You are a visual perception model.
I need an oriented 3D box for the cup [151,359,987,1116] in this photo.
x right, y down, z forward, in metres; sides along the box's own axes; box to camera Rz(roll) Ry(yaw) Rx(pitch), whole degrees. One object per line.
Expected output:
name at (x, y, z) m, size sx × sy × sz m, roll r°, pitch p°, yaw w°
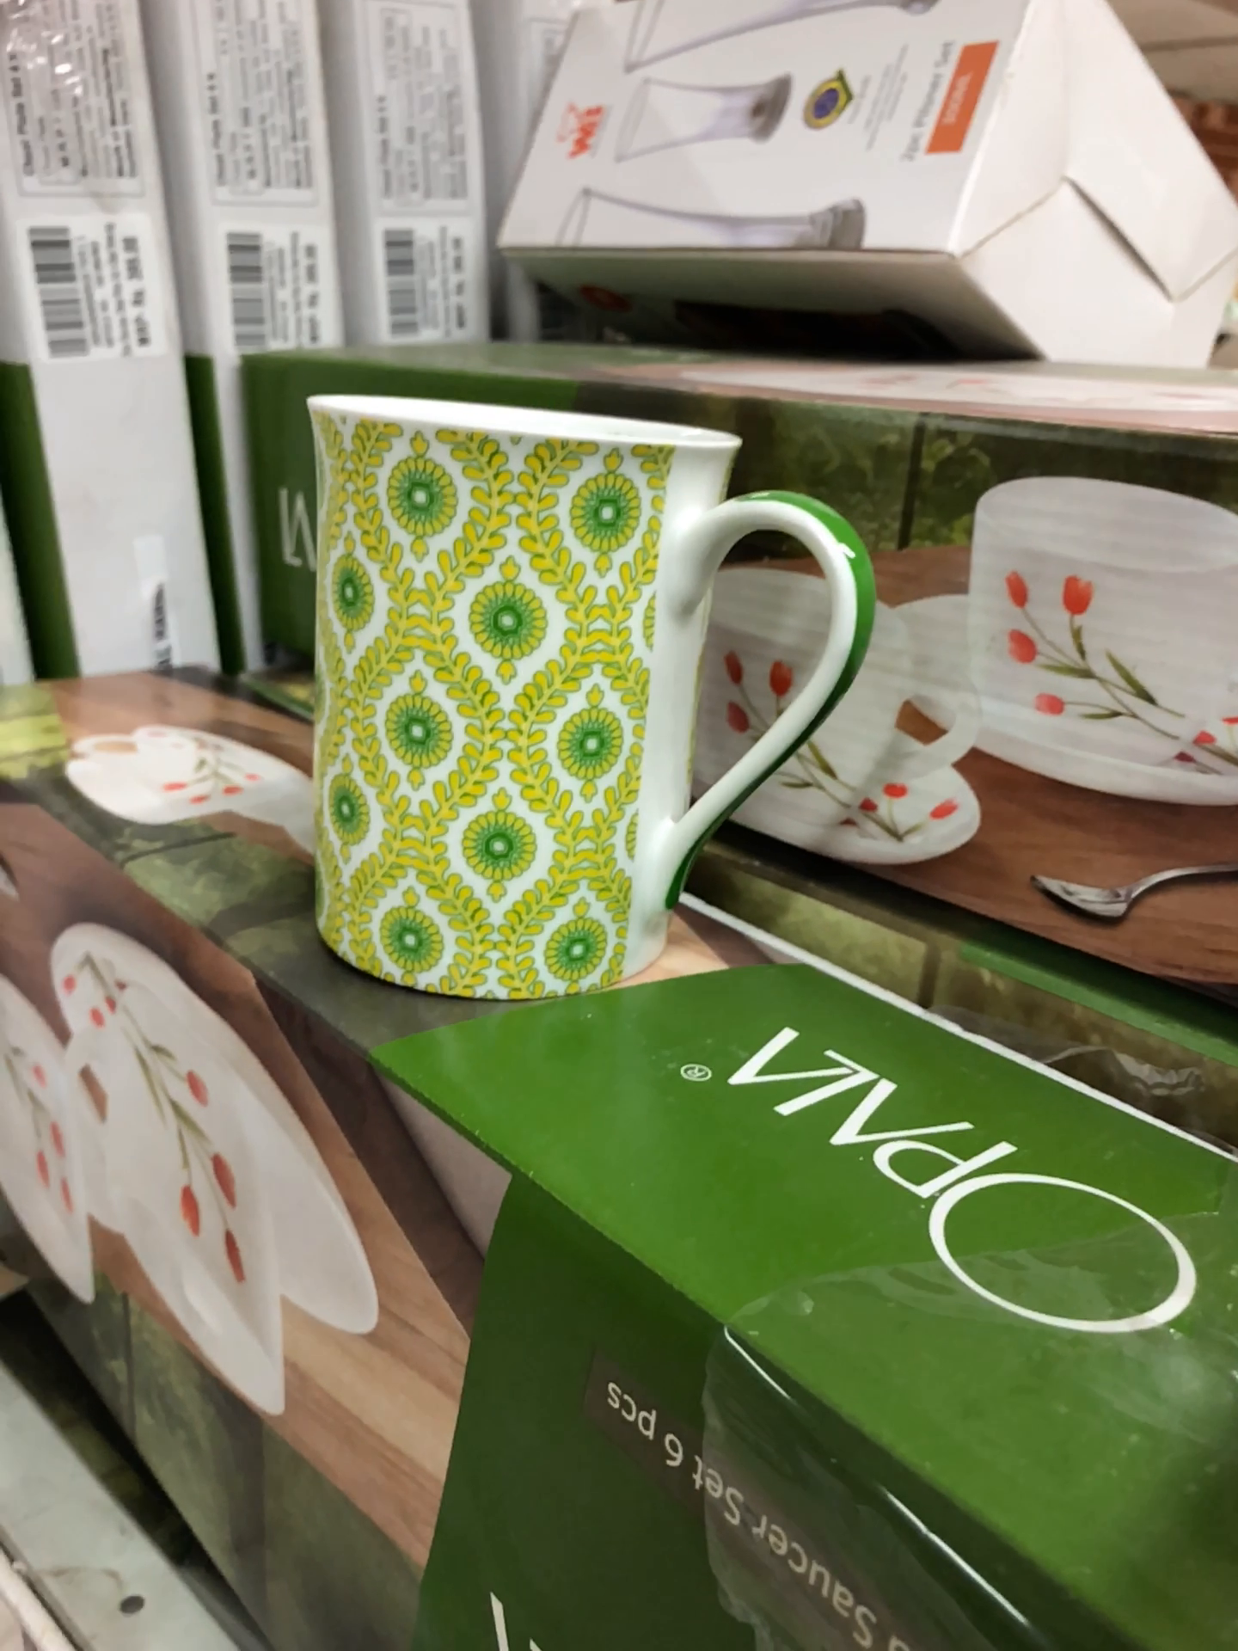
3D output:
cup at (-0.006, -0.023, 0.234) m, size 0.110 × 0.090 × 0.080 m, roll 12°, pitch 16°, yaw 17°
